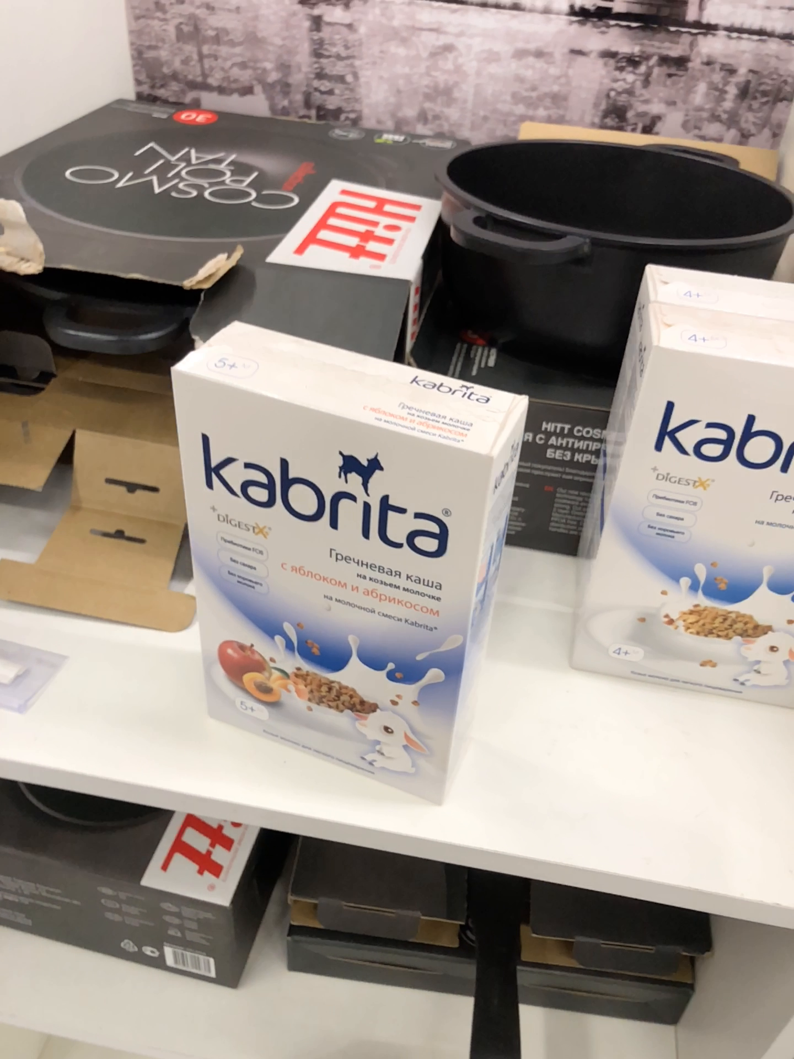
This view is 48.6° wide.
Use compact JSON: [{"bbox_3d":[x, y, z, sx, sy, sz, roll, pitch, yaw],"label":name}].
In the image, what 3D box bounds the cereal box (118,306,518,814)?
[{"bbox_3d":[-0.036,0.020,0.386,0.140,0.199,0.050,17,38,15],"label":"cereal box"}]
